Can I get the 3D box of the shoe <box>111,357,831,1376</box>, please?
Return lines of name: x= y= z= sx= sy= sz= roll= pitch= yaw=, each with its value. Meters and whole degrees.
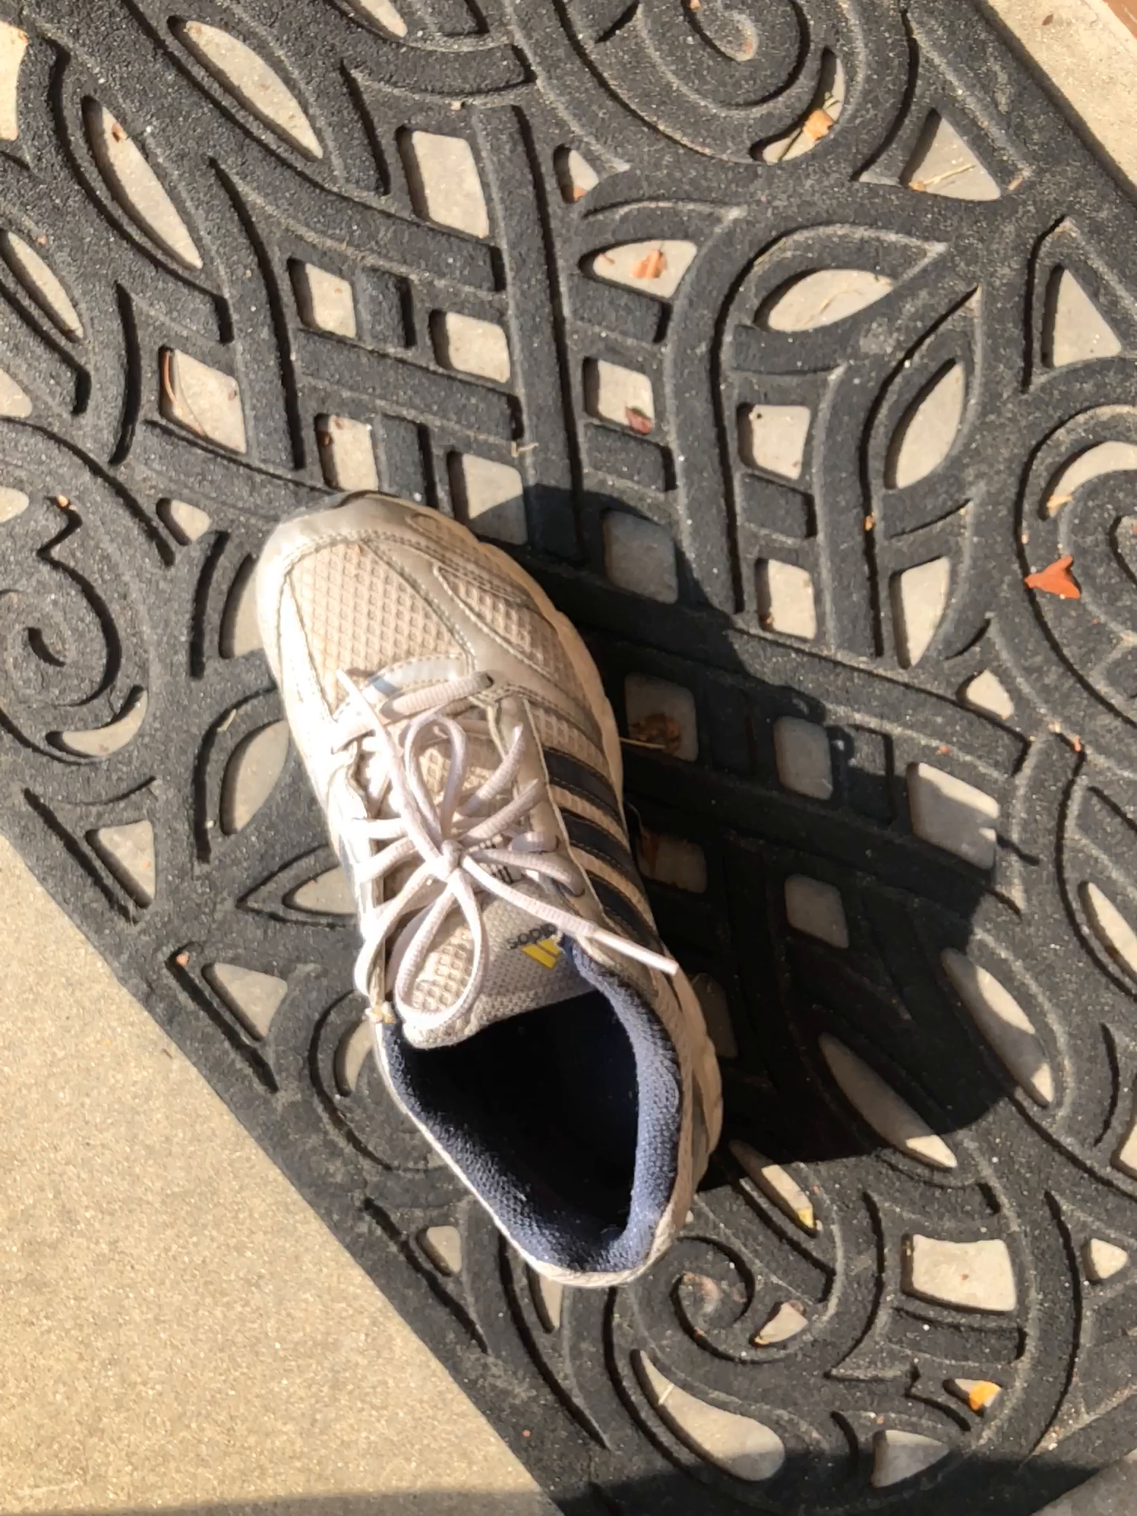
shoe: x=-0.019 y=0.030 z=0.410 sx=0.110 sy=0.130 sz=0.260 roll=-21 pitch=93 yaw=8
